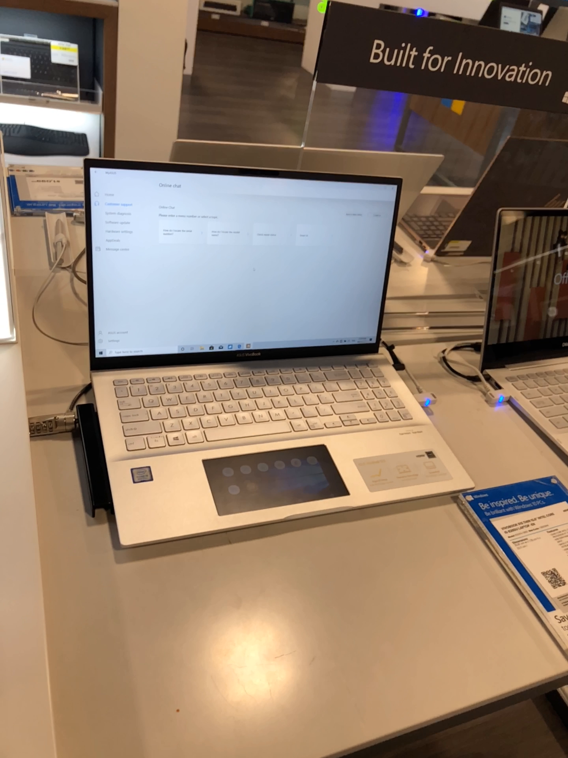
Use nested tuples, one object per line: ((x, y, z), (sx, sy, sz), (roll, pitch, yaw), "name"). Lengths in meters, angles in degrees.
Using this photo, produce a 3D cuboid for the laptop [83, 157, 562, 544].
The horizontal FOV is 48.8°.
((0.000, -0.049, 0.581), (0.330, 0.189, 0.285), (-4, 40, -22), "laptop")
